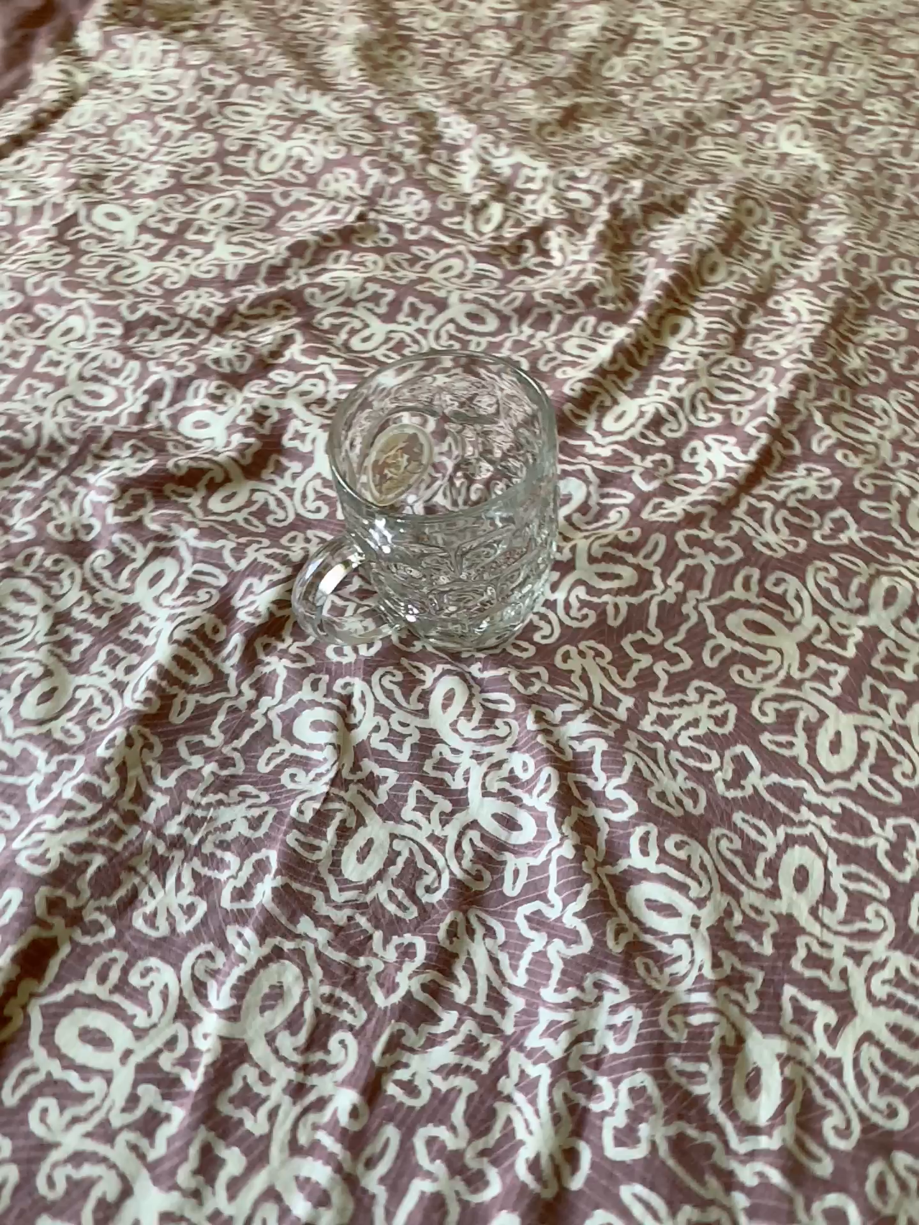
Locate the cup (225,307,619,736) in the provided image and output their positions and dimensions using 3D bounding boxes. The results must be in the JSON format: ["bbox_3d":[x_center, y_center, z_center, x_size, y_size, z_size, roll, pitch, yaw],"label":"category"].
[{"bbox_3d":[-0.010,-0.038,0.395,0.093,0.099,0.117,38,67,27],"label":"cup"}]
